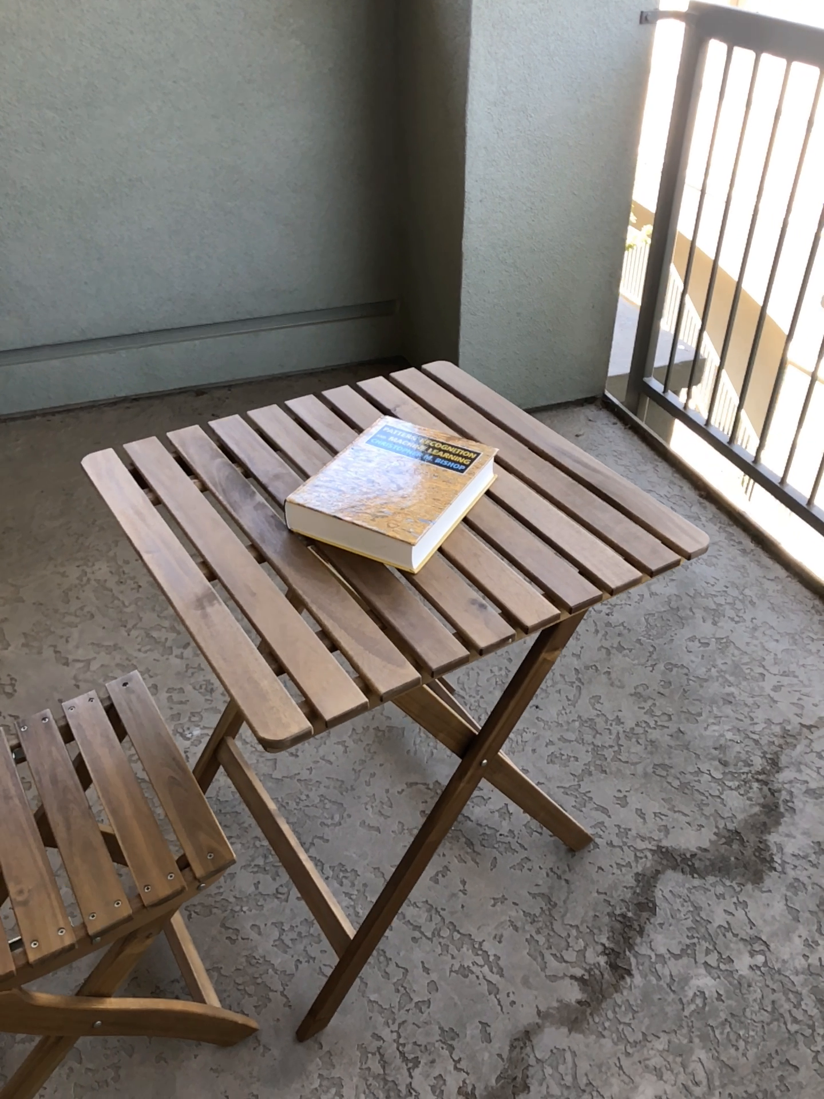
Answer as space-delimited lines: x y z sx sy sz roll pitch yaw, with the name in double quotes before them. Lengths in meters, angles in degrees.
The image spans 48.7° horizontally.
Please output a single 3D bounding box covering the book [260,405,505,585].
"book" -0.028 -0.076 1.095 0.190 0.050 0.251 18 41 22
